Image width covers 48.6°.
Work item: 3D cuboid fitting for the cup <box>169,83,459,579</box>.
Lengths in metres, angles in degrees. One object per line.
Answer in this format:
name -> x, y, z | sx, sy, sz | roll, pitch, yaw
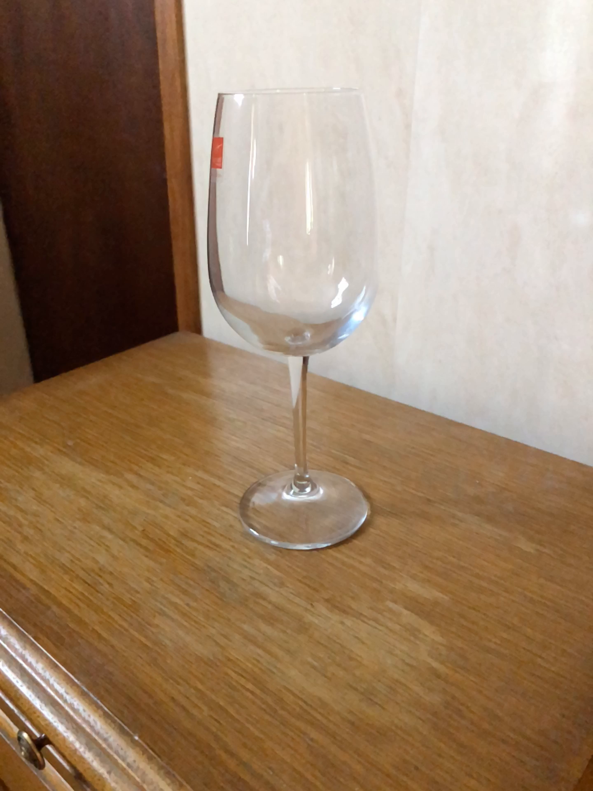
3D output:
cup -> 0.004, -0.037, 0.345 | 0.100, 0.229, 0.090 | -12, 28, -23
